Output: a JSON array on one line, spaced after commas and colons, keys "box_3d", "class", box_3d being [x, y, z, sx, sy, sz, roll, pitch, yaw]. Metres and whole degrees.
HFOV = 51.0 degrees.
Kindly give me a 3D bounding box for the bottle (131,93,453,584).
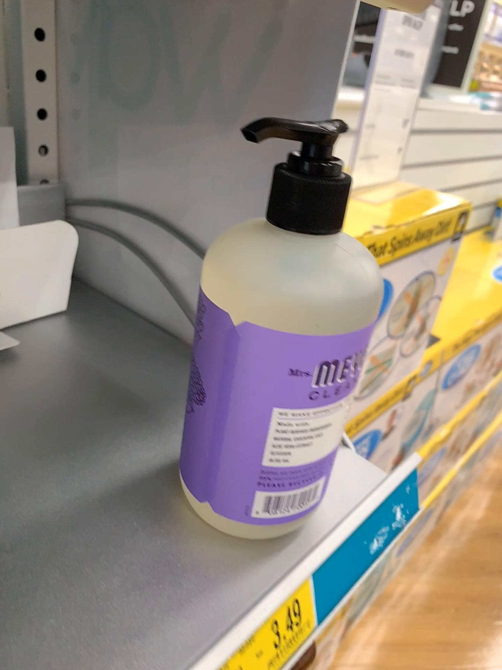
[{"box_3d": [0.010, -0.002, 0.207, 0.070, 0.159, 0.080, 24, 31, 26], "class": "bottle"}]
